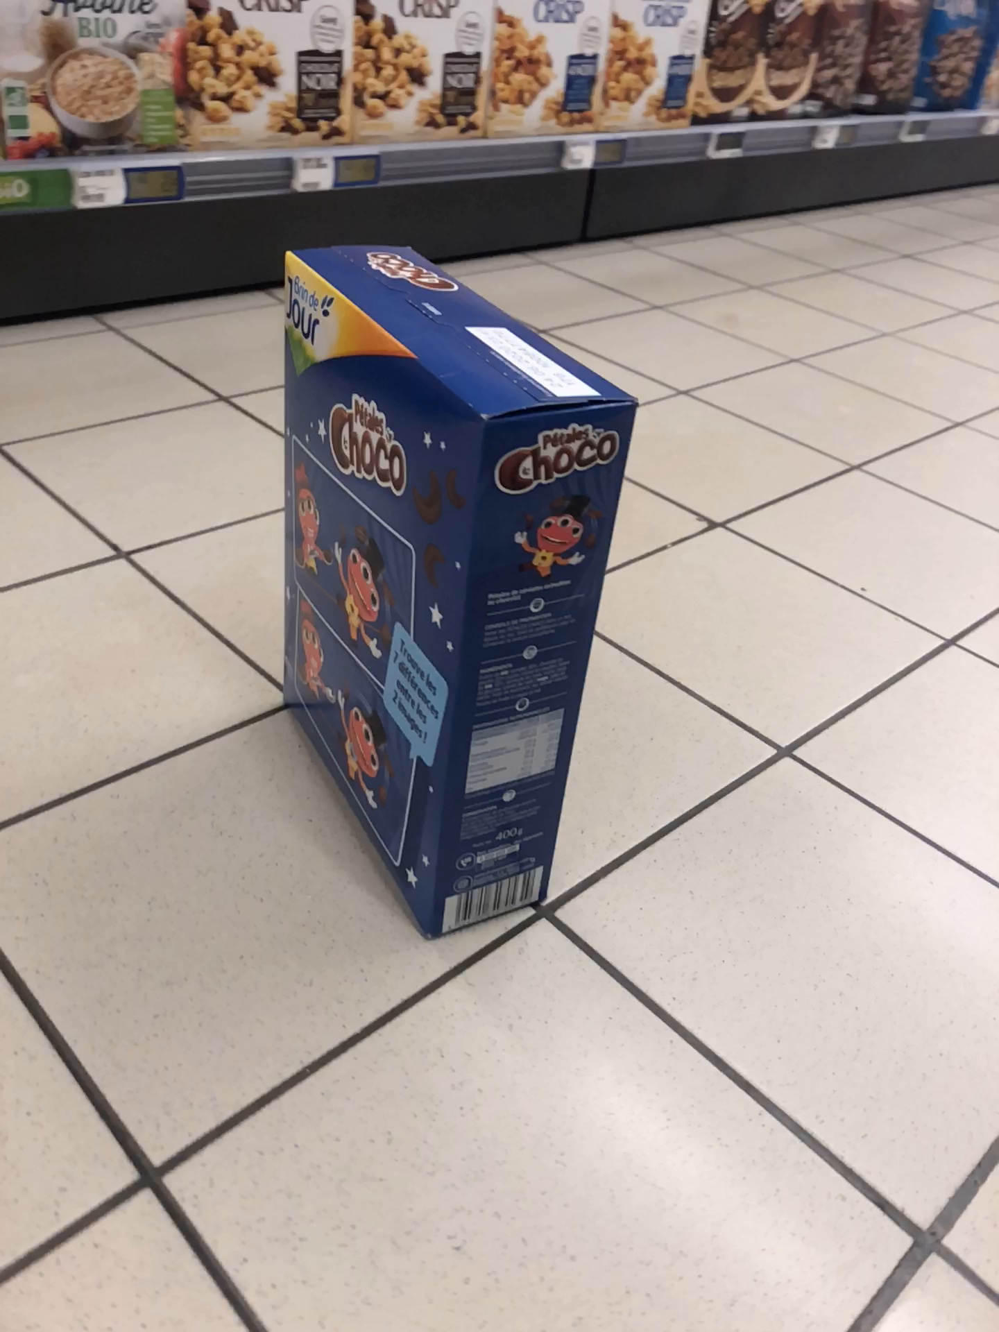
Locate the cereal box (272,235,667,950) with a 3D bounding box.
[{"bbox_3d":[-0.035,-0.039,0.497,0.070,0.248,0.200,-12,38,-27],"label":"cereal box"}]
